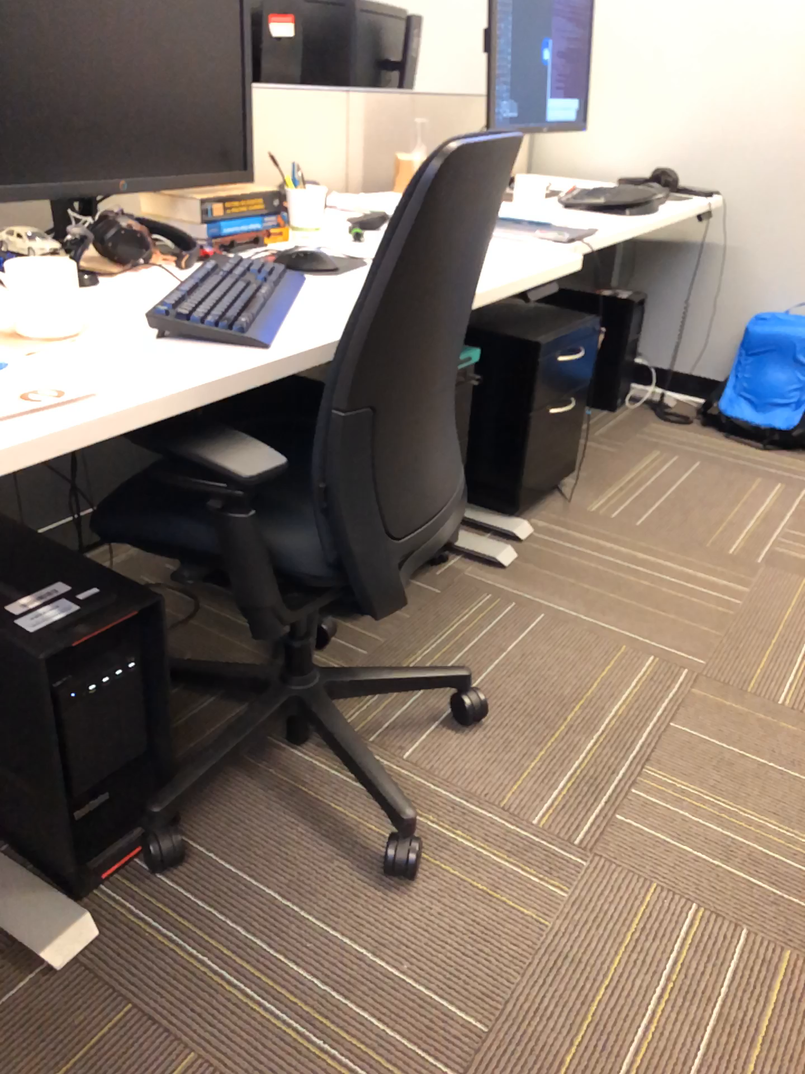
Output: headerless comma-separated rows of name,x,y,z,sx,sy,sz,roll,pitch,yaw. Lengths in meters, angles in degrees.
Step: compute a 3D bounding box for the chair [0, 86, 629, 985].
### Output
chair,-0.163,-0.084,1.372,0.720,1.044,0.713,14,29,18
